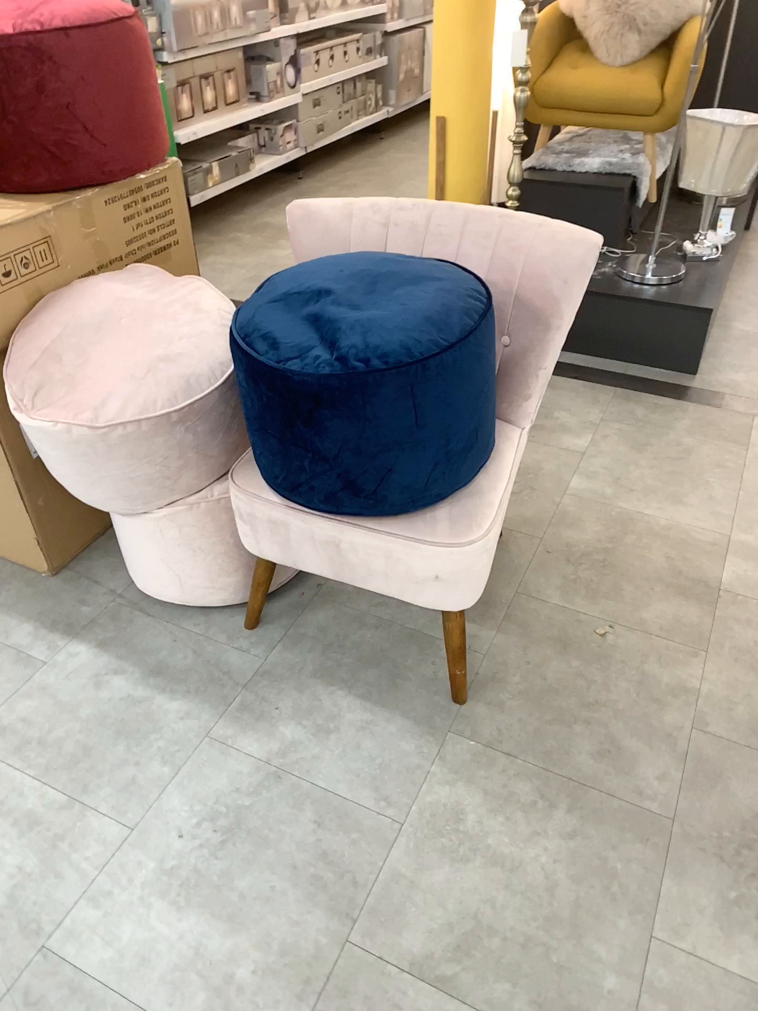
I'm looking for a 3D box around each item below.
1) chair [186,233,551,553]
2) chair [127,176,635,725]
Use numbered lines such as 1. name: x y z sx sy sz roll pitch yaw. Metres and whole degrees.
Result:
1. chair: 0.006 -0.252 1.495 0.496 0.340 0.497 15 40 21
2. chair: 0.059 -0.173 1.648 0.692 0.772 0.736 15 40 21
